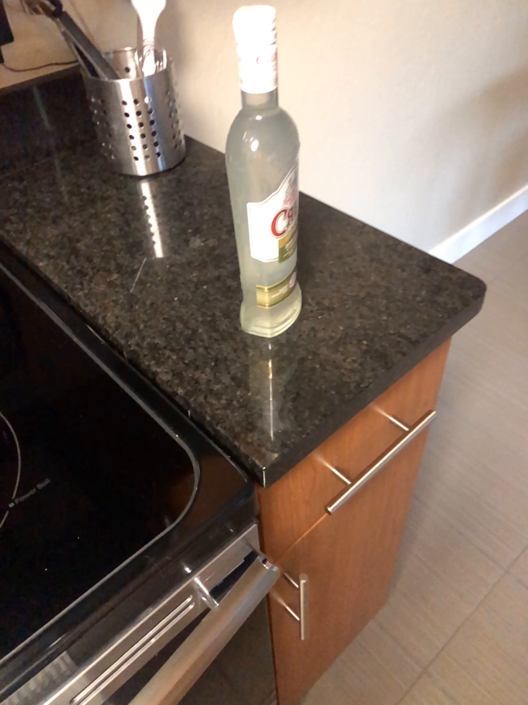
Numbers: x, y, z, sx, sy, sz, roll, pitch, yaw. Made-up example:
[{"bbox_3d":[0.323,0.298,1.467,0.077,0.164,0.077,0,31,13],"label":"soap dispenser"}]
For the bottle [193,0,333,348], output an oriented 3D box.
[{"bbox_3d":[0.007,-0.138,0.487,0.060,0.269,0.090,18,48,21],"label":"bottle"}]
